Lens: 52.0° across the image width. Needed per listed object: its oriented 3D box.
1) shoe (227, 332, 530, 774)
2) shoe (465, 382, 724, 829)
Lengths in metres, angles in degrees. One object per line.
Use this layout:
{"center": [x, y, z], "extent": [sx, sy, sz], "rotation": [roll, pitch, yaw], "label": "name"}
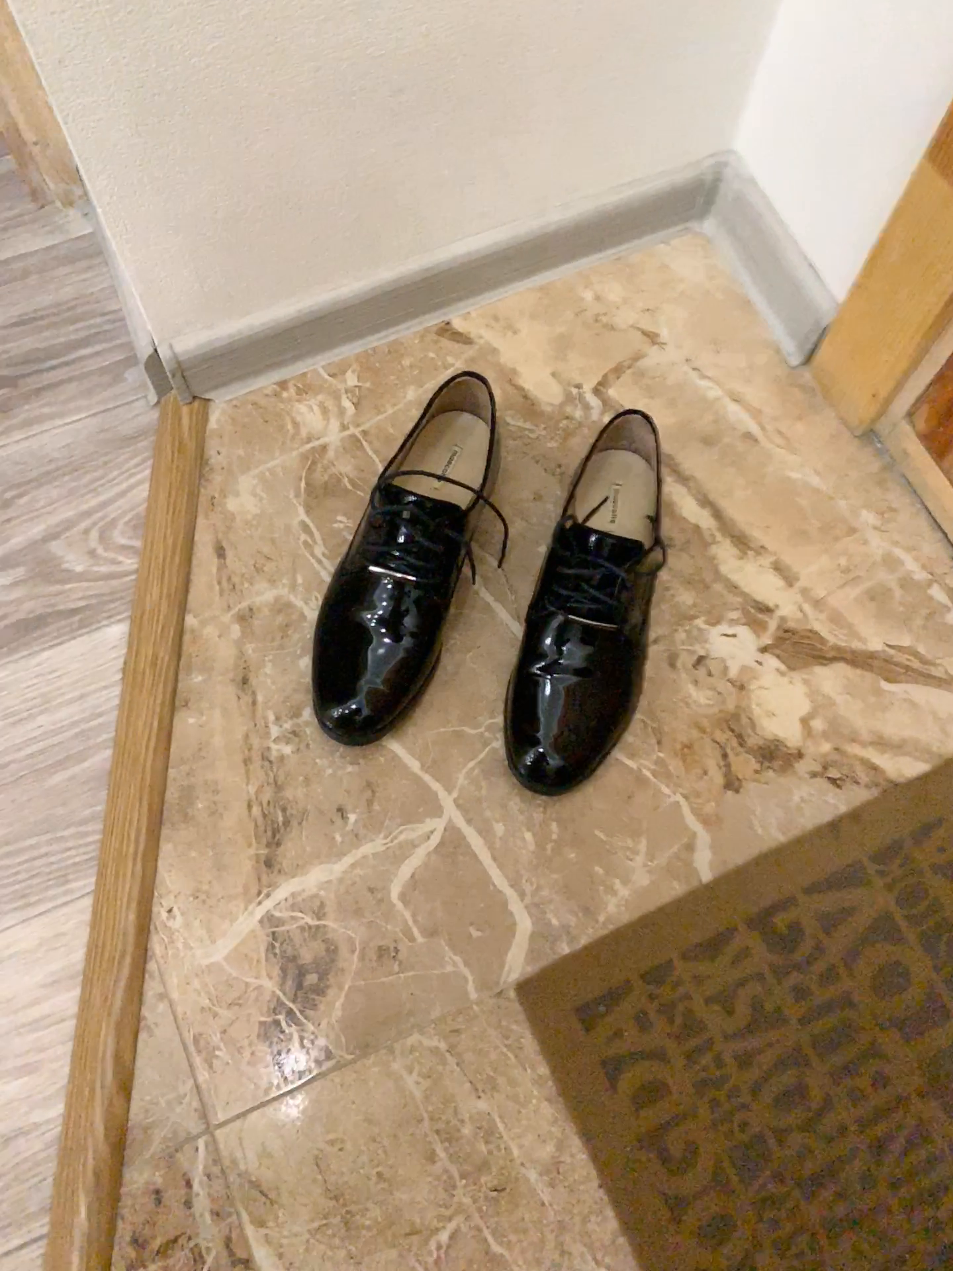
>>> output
{"center": [-0.051, -0.049, 0.597], "extent": [0.086, 0.110, 0.230], "rotation": [20, 69, 6], "label": "shoe"}
{"center": [0.070, -0.017, 0.591], "extent": [0.090, 0.110, 0.230], "rotation": [16, 69, 4], "label": "shoe"}
